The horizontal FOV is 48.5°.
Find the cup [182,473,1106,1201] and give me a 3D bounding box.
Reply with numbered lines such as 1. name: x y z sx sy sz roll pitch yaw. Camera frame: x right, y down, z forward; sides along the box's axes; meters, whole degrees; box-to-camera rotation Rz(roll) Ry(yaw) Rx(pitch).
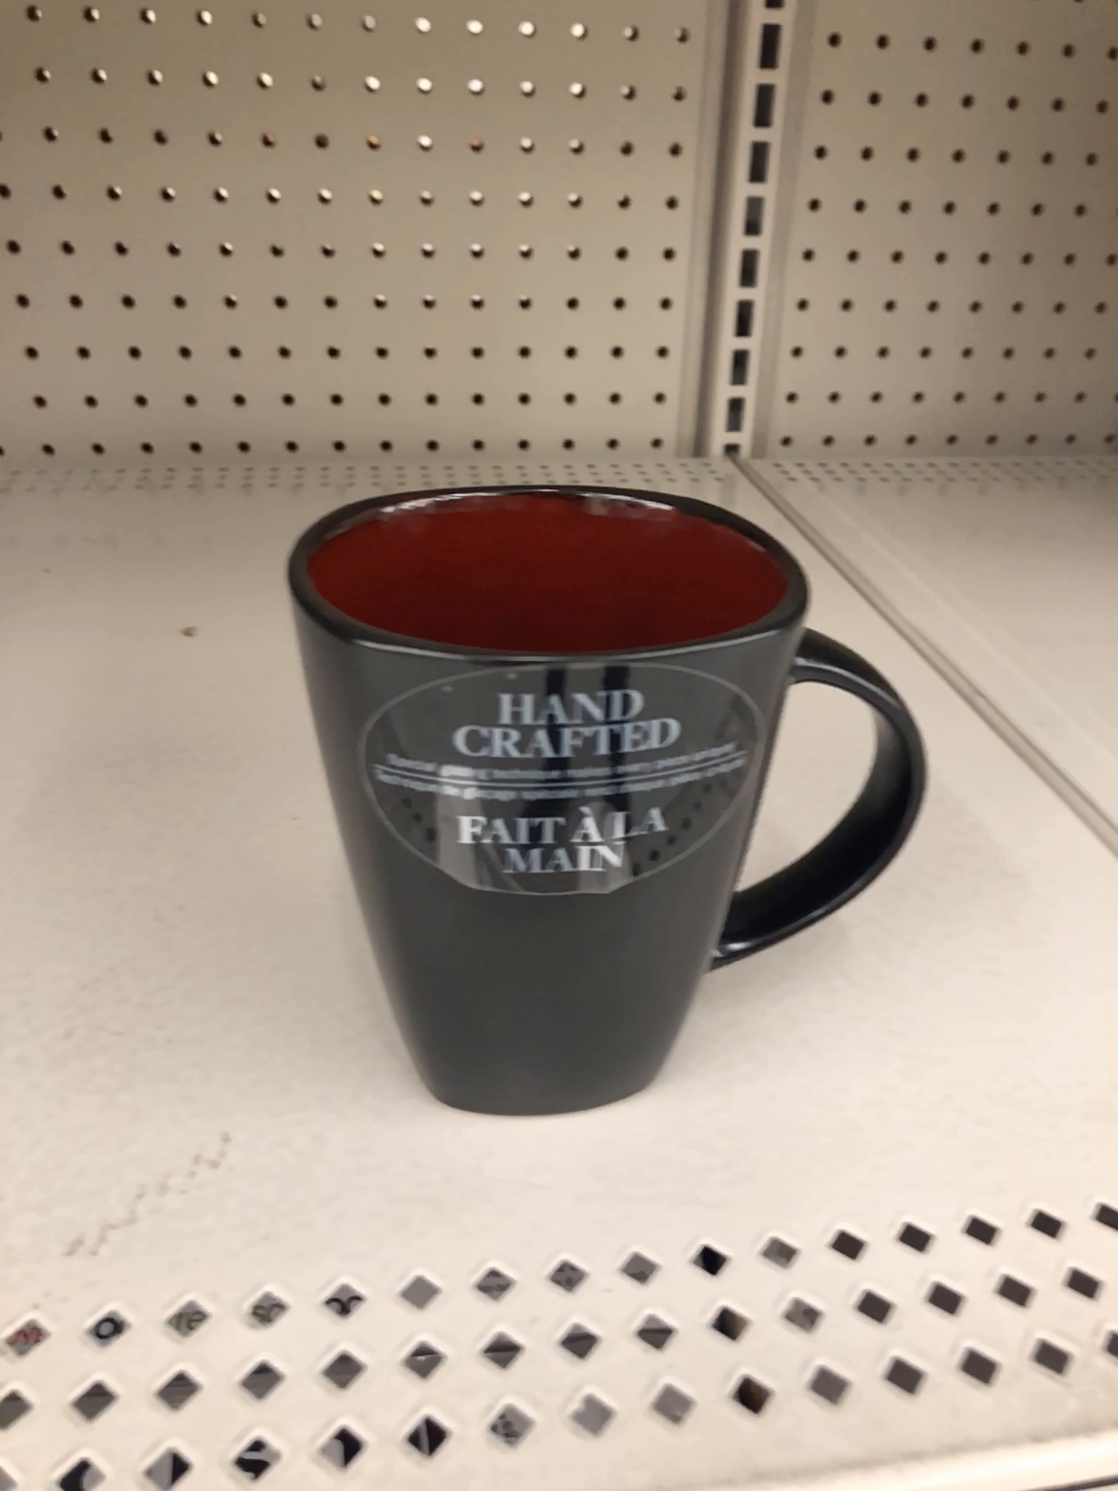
1. cup: 0.008 0.009 0.253 0.143 0.099 0.100 -4 29 -9
